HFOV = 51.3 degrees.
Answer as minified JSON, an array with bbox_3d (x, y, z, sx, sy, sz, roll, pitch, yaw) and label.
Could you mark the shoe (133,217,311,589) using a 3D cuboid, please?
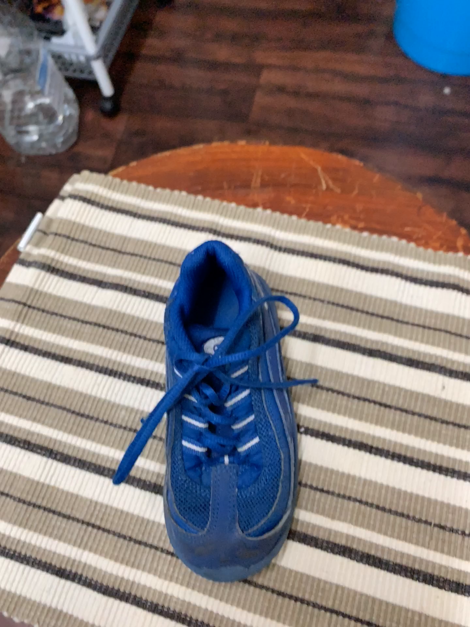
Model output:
[{"bbox_3d":[-0.001,0.044,0.270,0.073,0.079,0.176,-1,68,5],"label":"shoe"}]
